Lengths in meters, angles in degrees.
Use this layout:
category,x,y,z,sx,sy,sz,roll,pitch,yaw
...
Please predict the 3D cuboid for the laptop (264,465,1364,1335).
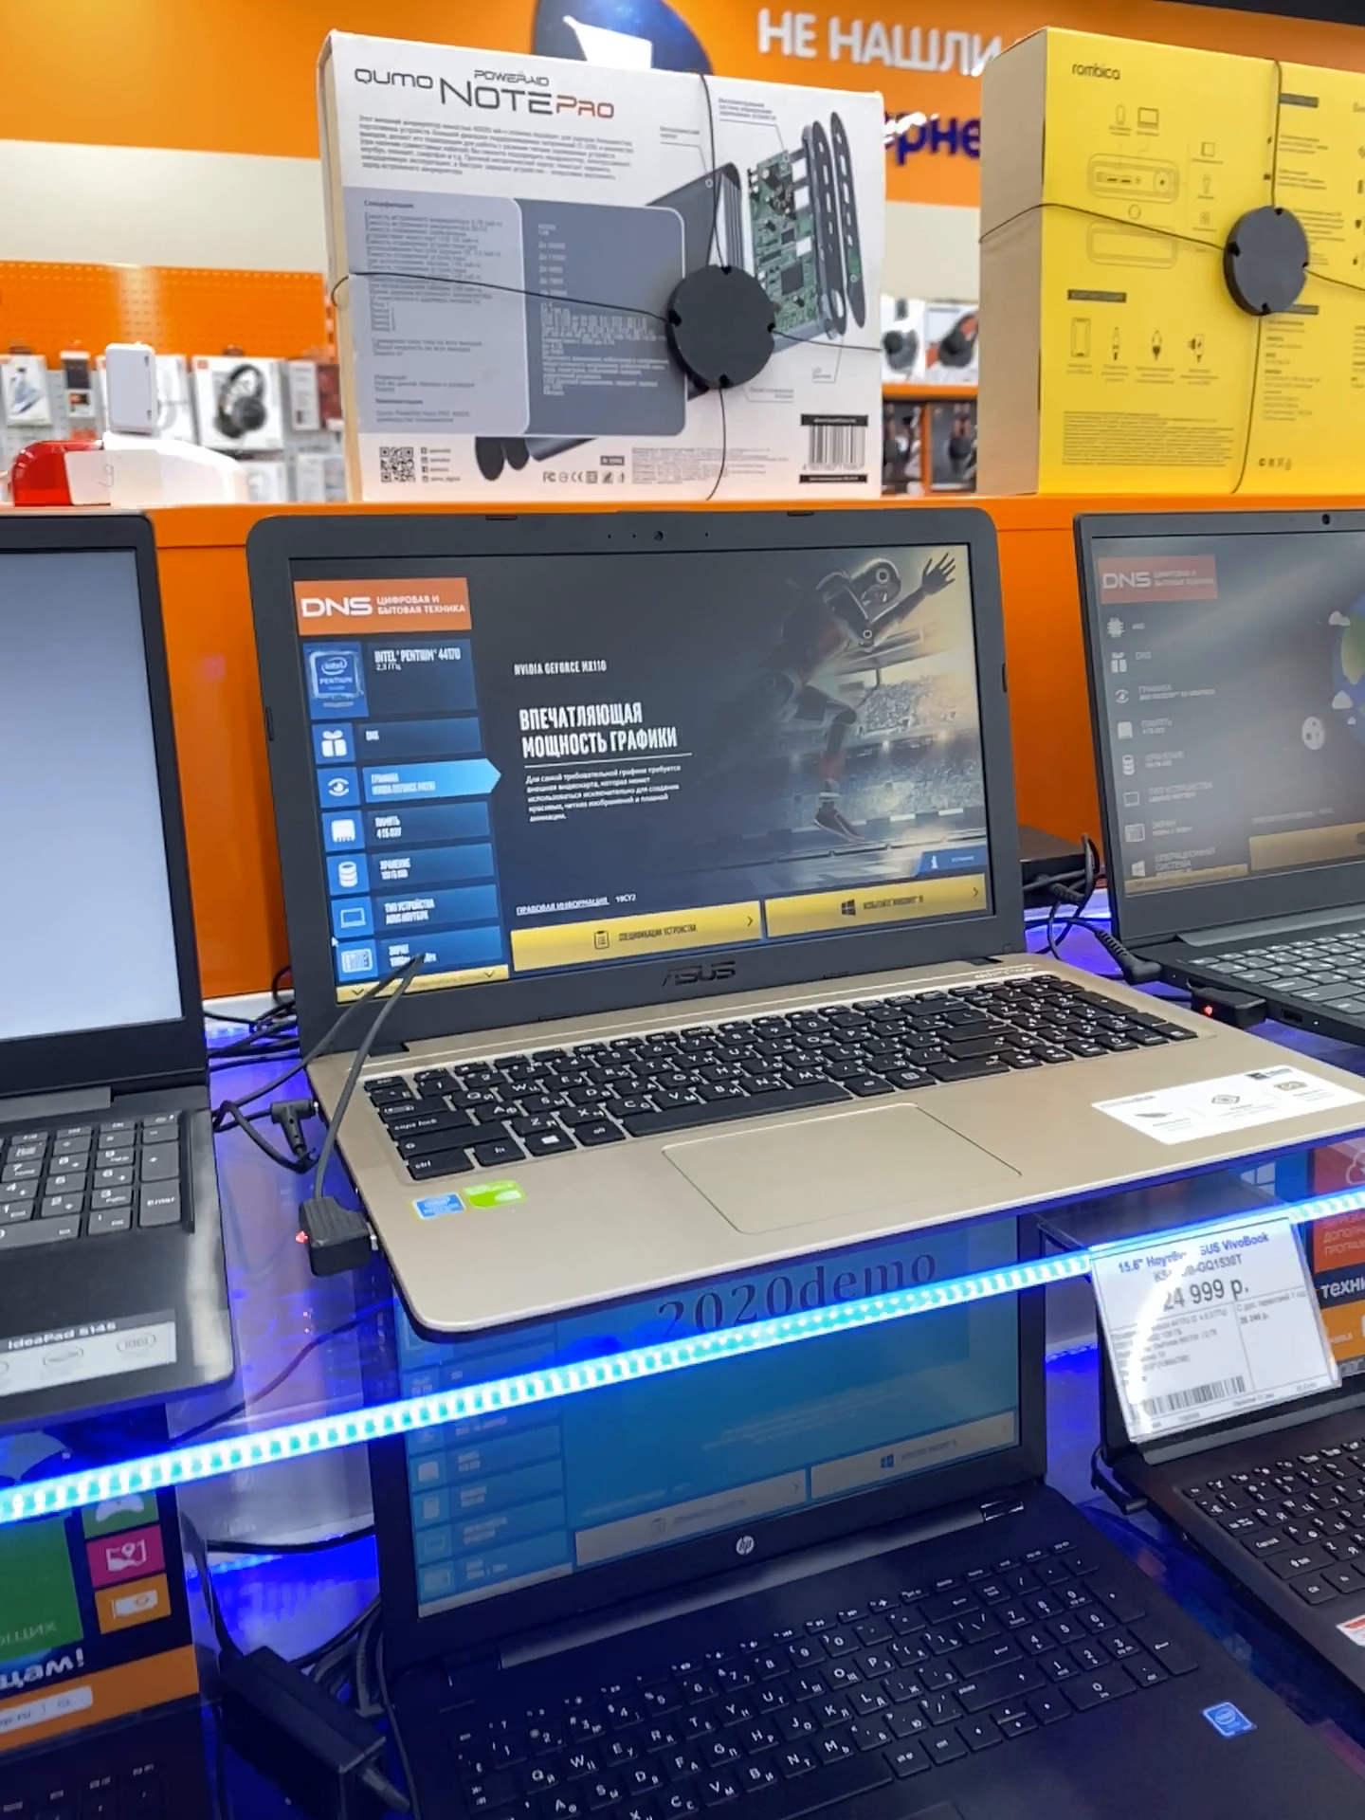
category,x,y,z,sx,sy,sz,roll,pitch,yaw
laptop,0.050,-0.045,0.564,0.376,0.230,0.294,-6,13,-21
